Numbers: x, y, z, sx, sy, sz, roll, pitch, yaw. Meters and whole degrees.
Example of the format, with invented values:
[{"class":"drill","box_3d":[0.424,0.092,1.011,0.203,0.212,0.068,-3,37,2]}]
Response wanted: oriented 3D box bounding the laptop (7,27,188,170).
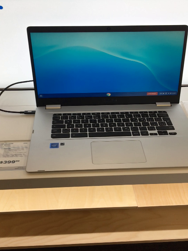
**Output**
[{"class":"laptop","box_3d":[0.050,-0.077,0.576,0.389,0.198,0.310,-2,44,-3]}]
